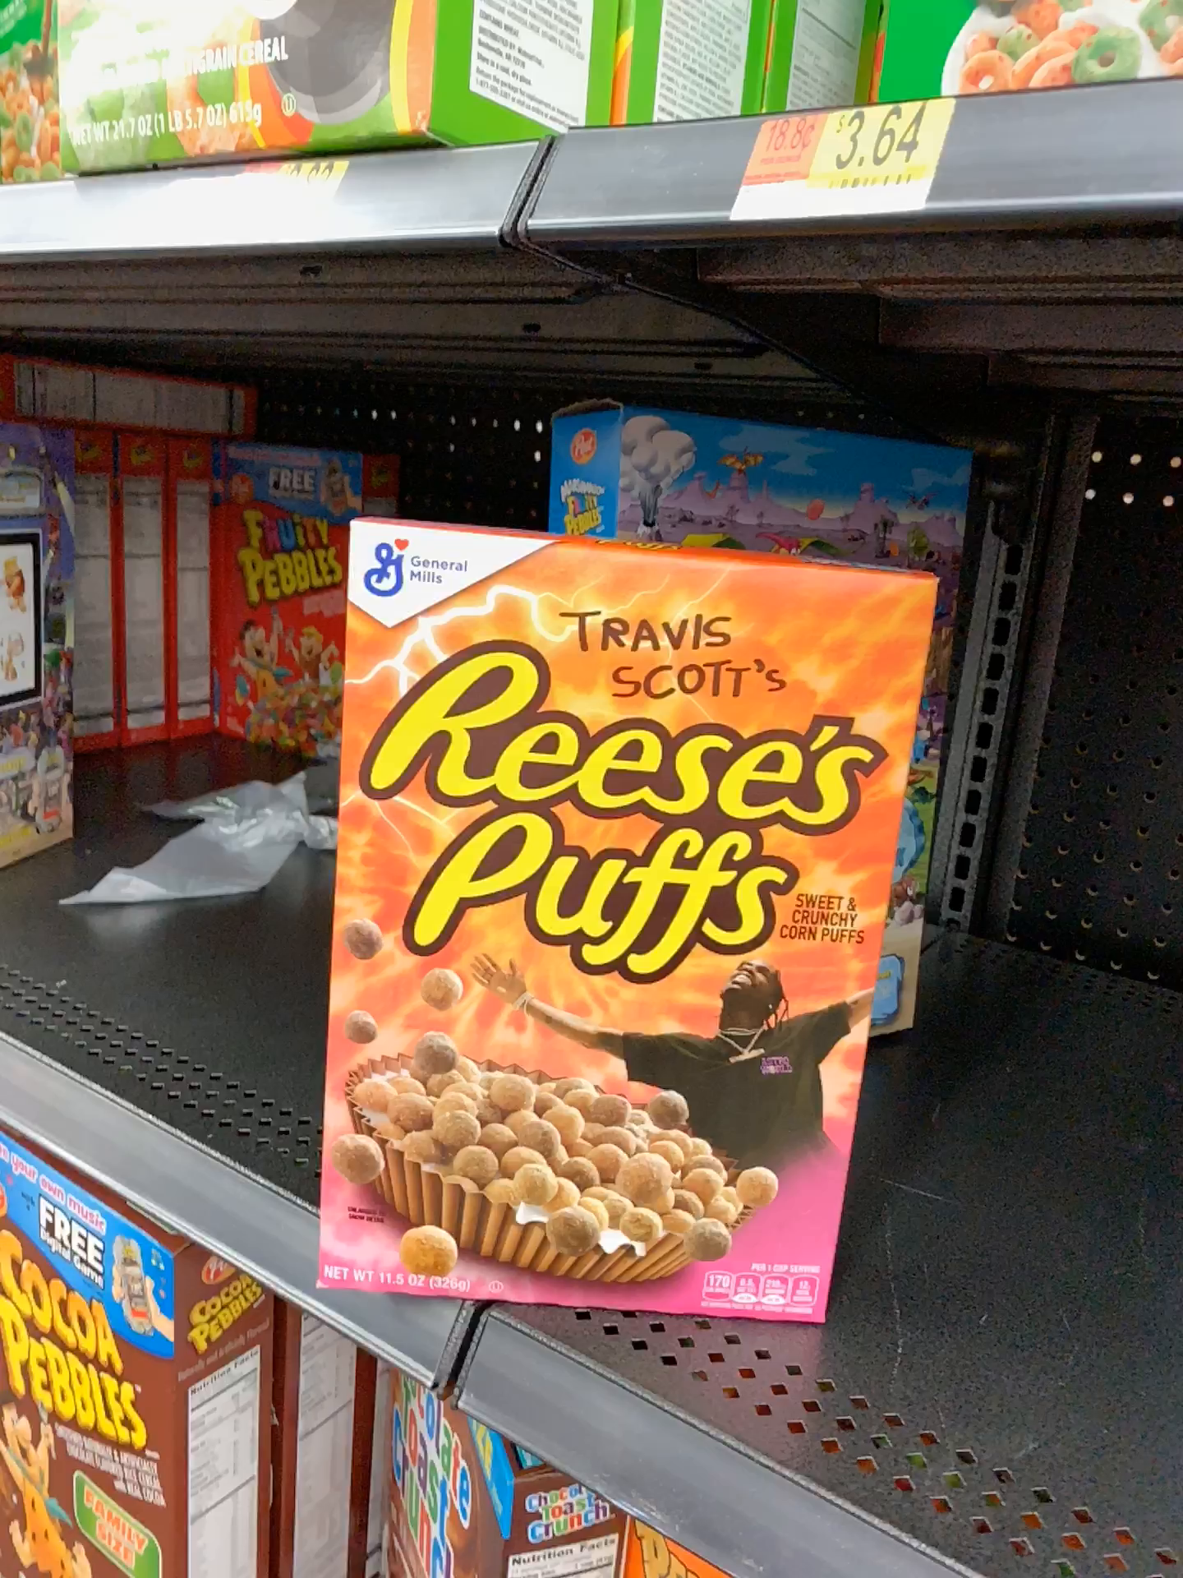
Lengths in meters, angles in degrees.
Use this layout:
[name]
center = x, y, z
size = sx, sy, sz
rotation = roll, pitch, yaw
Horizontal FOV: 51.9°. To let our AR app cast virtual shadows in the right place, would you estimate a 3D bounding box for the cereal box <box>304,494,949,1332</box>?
[cereal box]
center = 0.004, 0.048, 0.444
size = 0.200, 0.289, 0.050
rotation = 4, 13, -1
